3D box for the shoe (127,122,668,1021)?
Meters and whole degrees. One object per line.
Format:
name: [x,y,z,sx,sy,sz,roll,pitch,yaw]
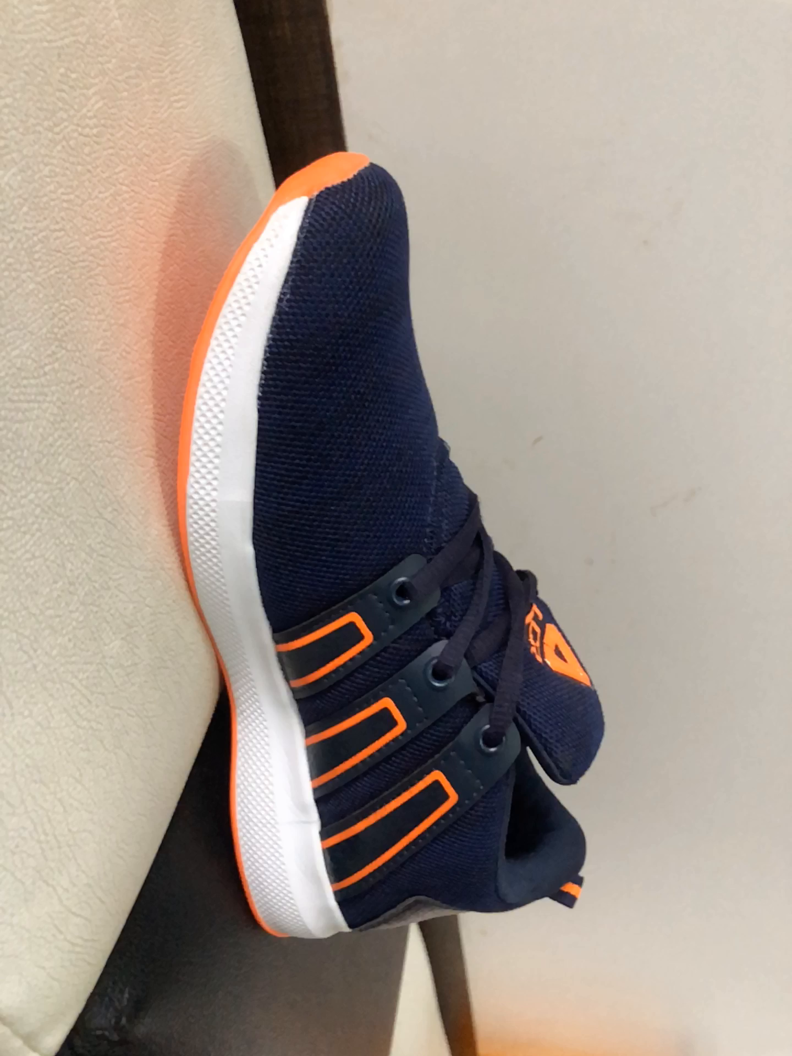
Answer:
shoe: [0.010,0.024,0.302,0.120,0.110,0.280,-73,165,-56]
